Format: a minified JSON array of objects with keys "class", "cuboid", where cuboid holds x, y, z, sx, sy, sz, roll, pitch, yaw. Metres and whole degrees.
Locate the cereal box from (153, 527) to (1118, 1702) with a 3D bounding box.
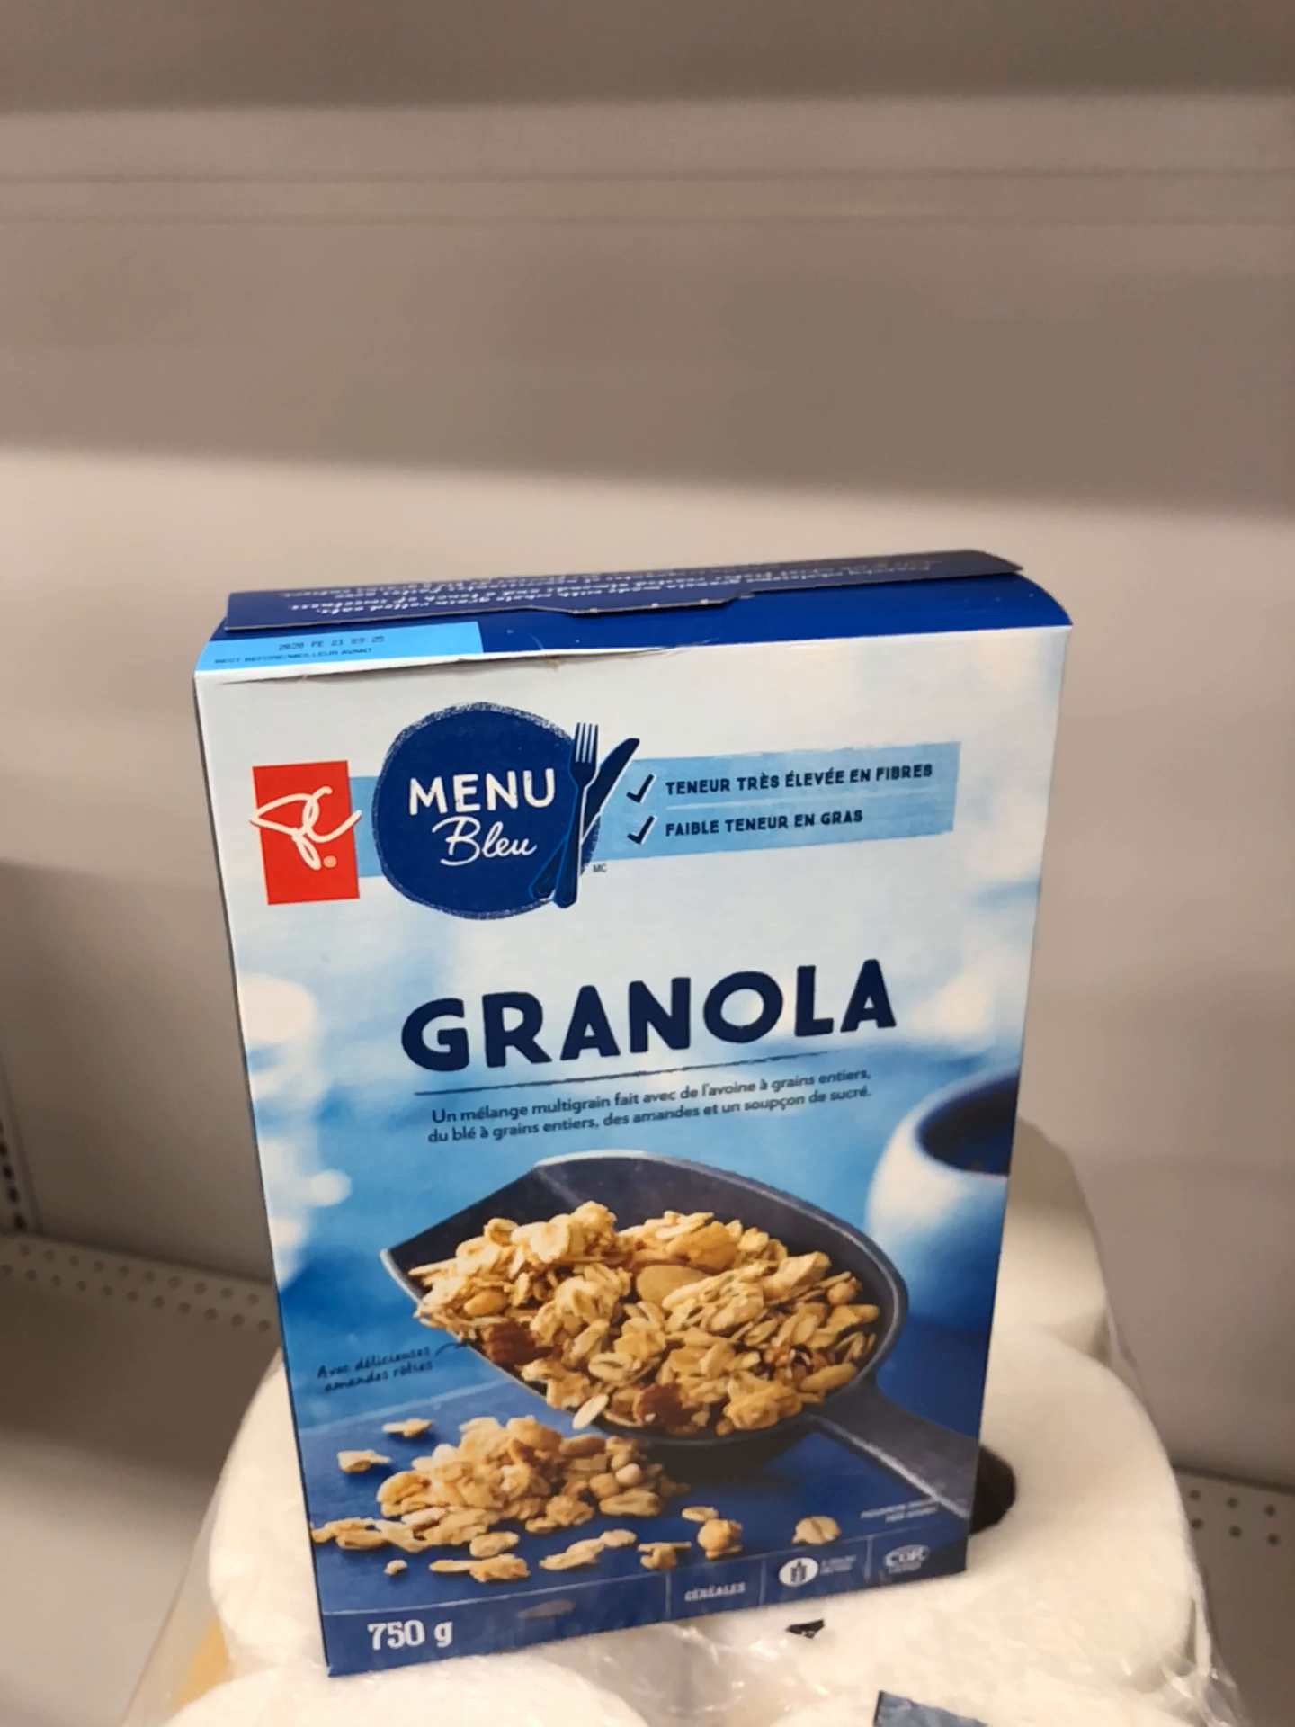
[{"class":"cereal box","cuboid":[-0.001,0.058,0.313,0.160,0.239,0.060,-4,23,-7]}]
